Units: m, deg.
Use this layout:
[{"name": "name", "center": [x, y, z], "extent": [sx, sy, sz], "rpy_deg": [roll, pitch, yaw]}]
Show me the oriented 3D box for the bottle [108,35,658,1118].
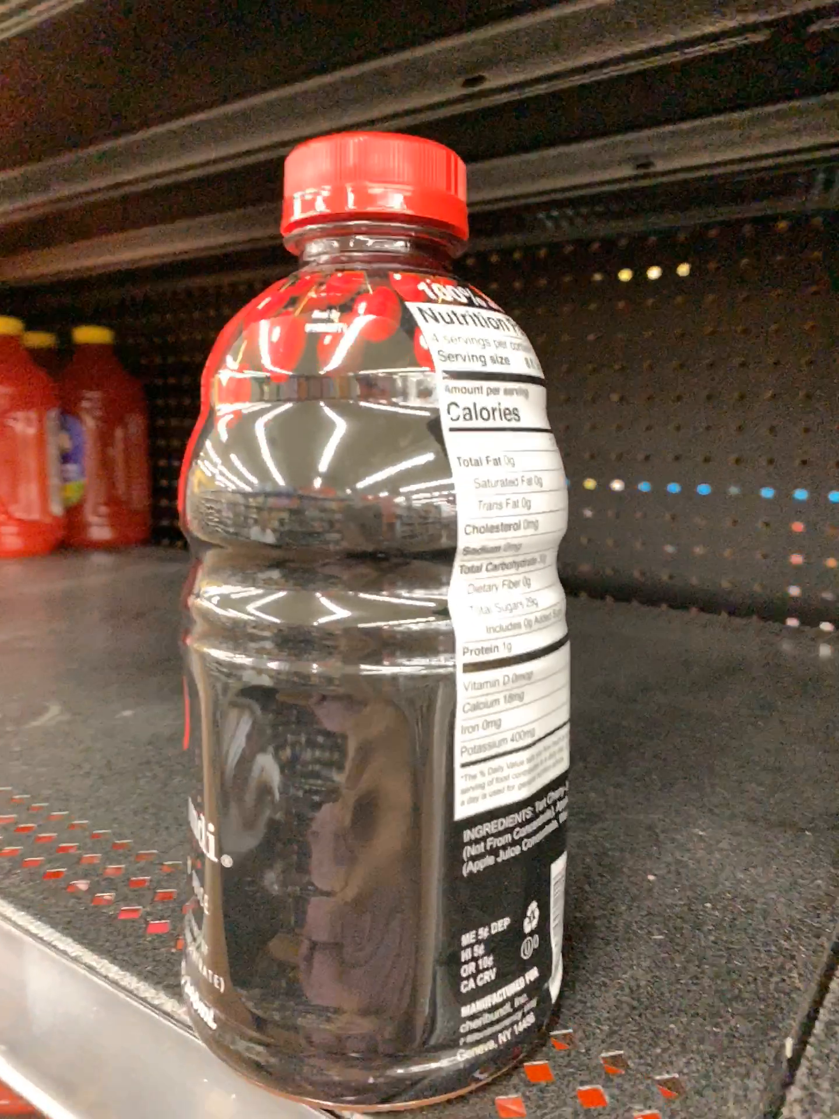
[{"name": "bottle", "center": [-0.012, 0.012, 0.203], "extent": [0.090, 0.205, 0.095], "rpy_deg": [0, 9, 0]}]
